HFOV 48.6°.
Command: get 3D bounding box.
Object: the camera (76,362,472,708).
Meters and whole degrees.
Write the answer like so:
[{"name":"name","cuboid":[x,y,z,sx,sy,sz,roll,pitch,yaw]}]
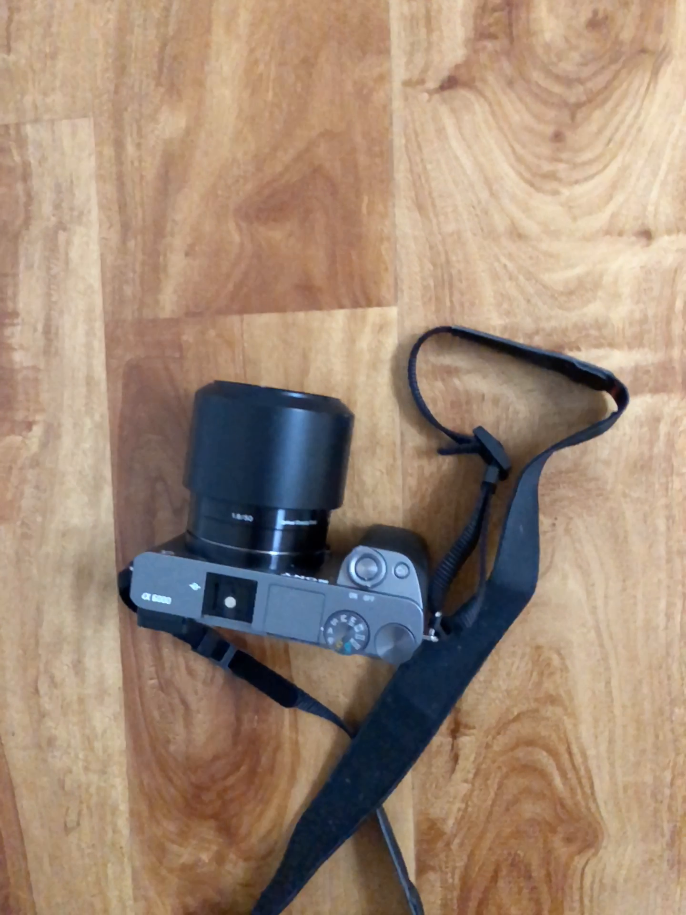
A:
[{"name":"camera","cuboid":[-0.024,0.027,0.329,0.140,0.080,0.110,9,94,8]}]
